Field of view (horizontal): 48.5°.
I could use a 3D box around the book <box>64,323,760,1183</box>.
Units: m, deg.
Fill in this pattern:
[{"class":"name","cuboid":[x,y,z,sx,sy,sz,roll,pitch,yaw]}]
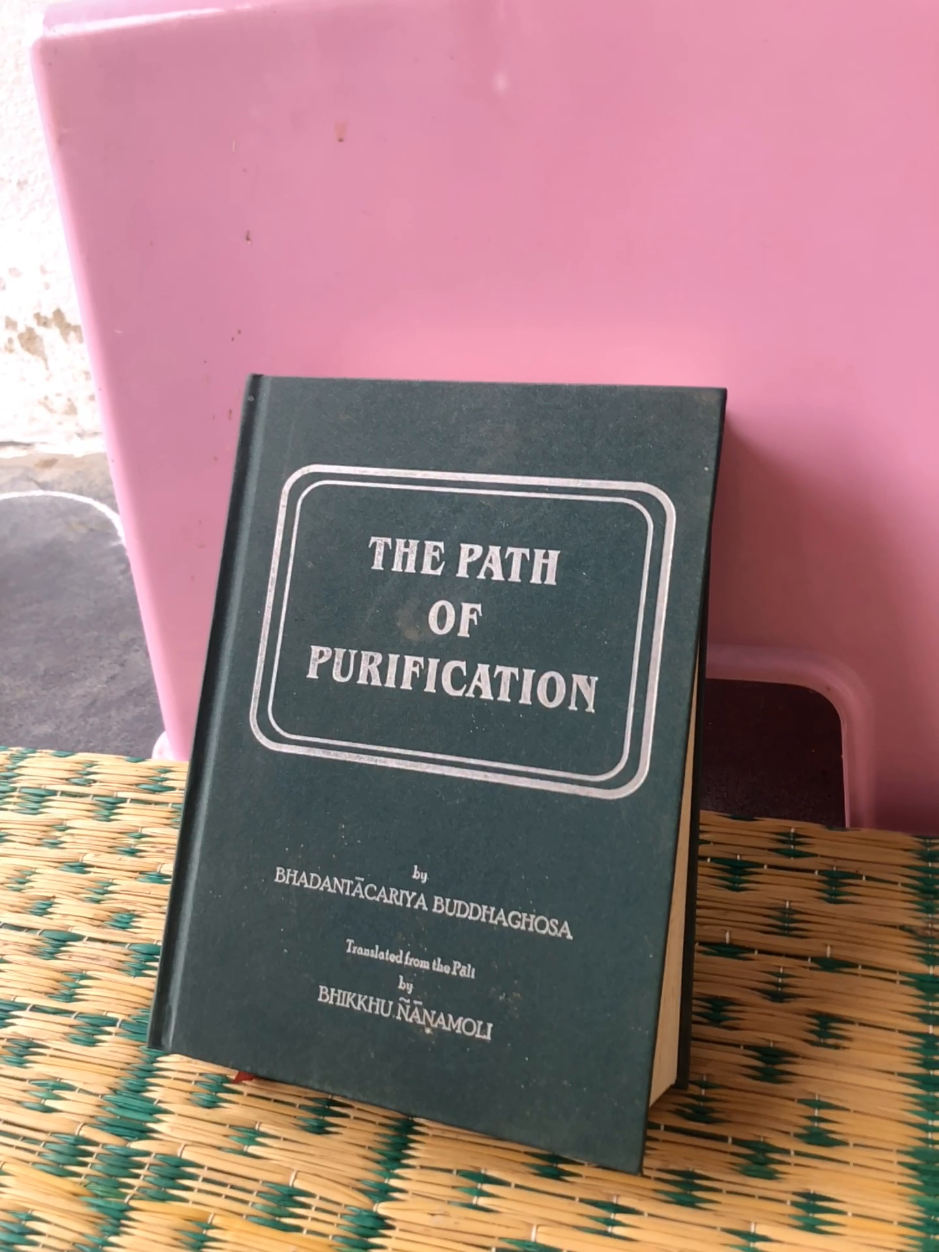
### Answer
[{"class":"book","cuboid":[-0.008,0.024,0.318,0.160,0.080,0.210,6,79,21]}]
